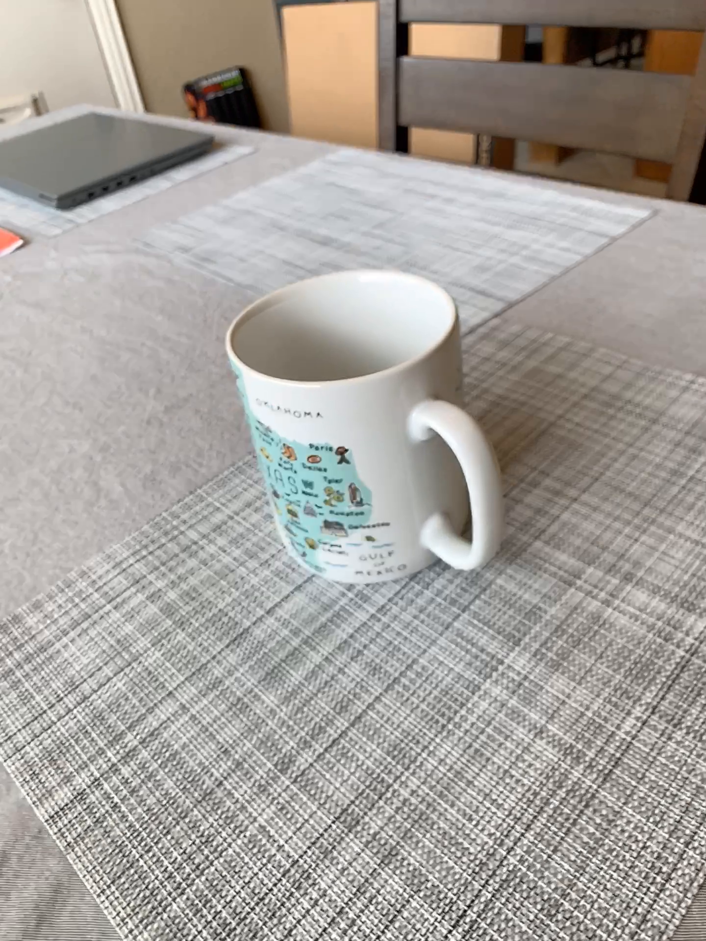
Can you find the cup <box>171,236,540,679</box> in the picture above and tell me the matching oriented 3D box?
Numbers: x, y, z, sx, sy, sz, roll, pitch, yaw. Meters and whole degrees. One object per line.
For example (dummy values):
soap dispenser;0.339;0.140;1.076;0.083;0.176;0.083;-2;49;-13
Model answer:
cup;0.000;-0.015;0.371;0.111;0.136;0.151;-22;41;-15
